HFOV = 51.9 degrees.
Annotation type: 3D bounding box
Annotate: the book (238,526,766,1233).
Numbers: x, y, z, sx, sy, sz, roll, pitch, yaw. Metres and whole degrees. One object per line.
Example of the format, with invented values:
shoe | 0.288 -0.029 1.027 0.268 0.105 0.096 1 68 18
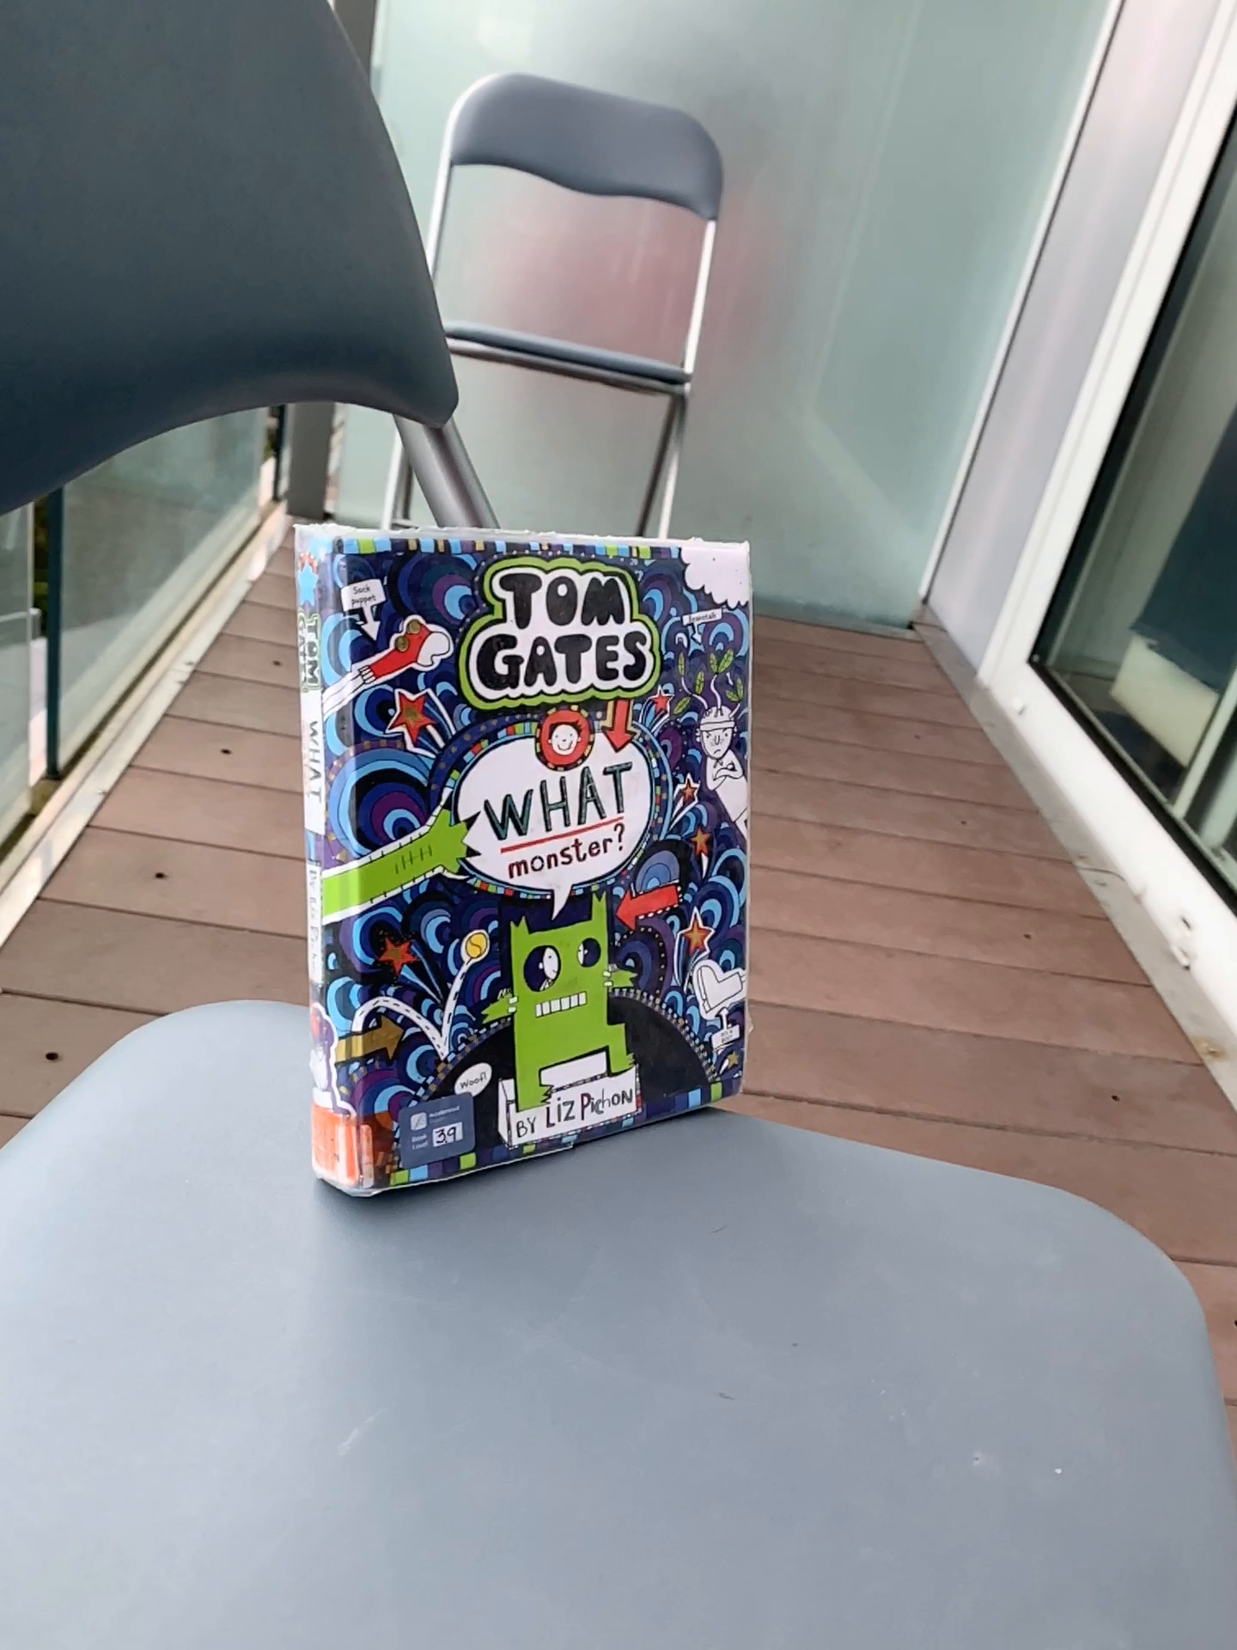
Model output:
book | -0.032 0.007 0.415 0.161 0.199 0.050 -7 13 -34
